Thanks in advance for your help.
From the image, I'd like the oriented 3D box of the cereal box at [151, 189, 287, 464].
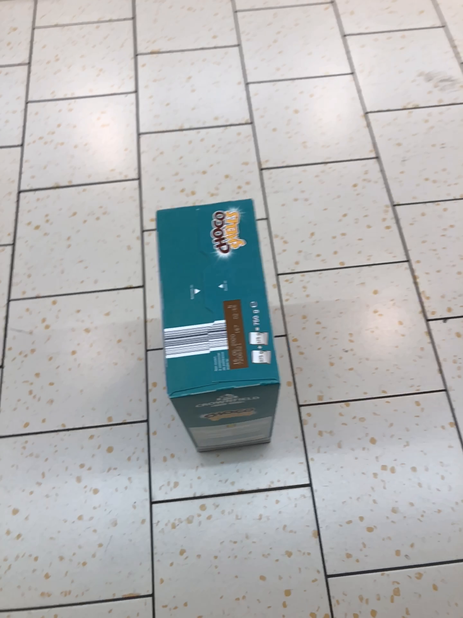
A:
[{"bbox_3d":[-0.013,0.039,0.578,0.100,0.269,0.211,-7,64,-2],"label":"cereal box"}]
